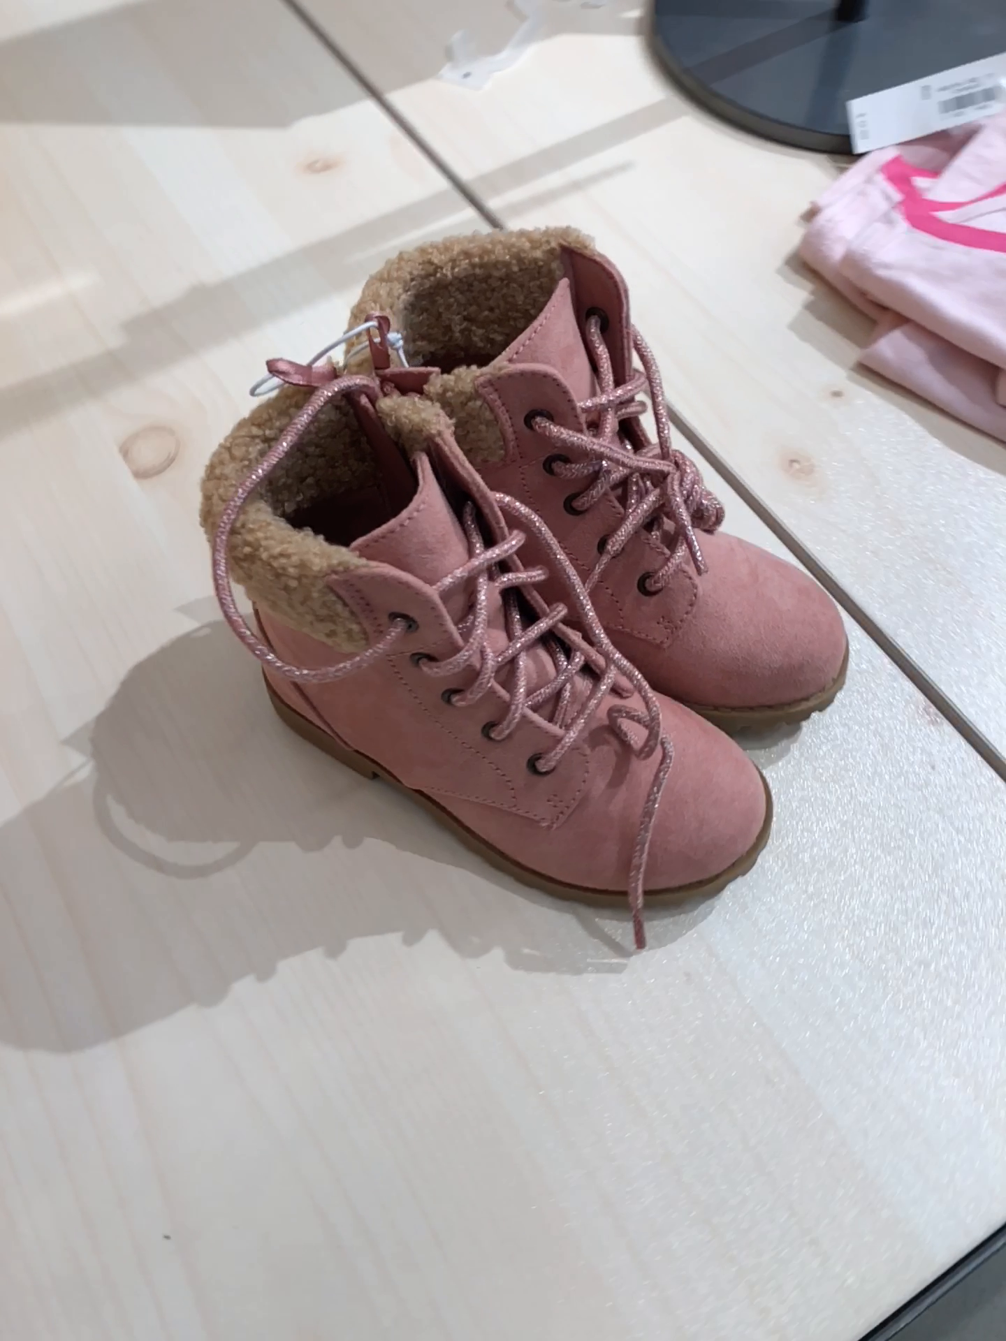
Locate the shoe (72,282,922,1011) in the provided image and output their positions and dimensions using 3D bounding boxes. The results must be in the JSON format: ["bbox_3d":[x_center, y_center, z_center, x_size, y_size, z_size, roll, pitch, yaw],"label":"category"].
[{"bbox_3d":[-0.002,-0.002,0.287,0.160,0.120,0.080,25,62,14],"label":"shoe"}]

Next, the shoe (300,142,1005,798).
[{"bbox_3d":[0.039,-0.054,0.327,0.160,0.120,0.080,25,62,14],"label":"shoe"}]
